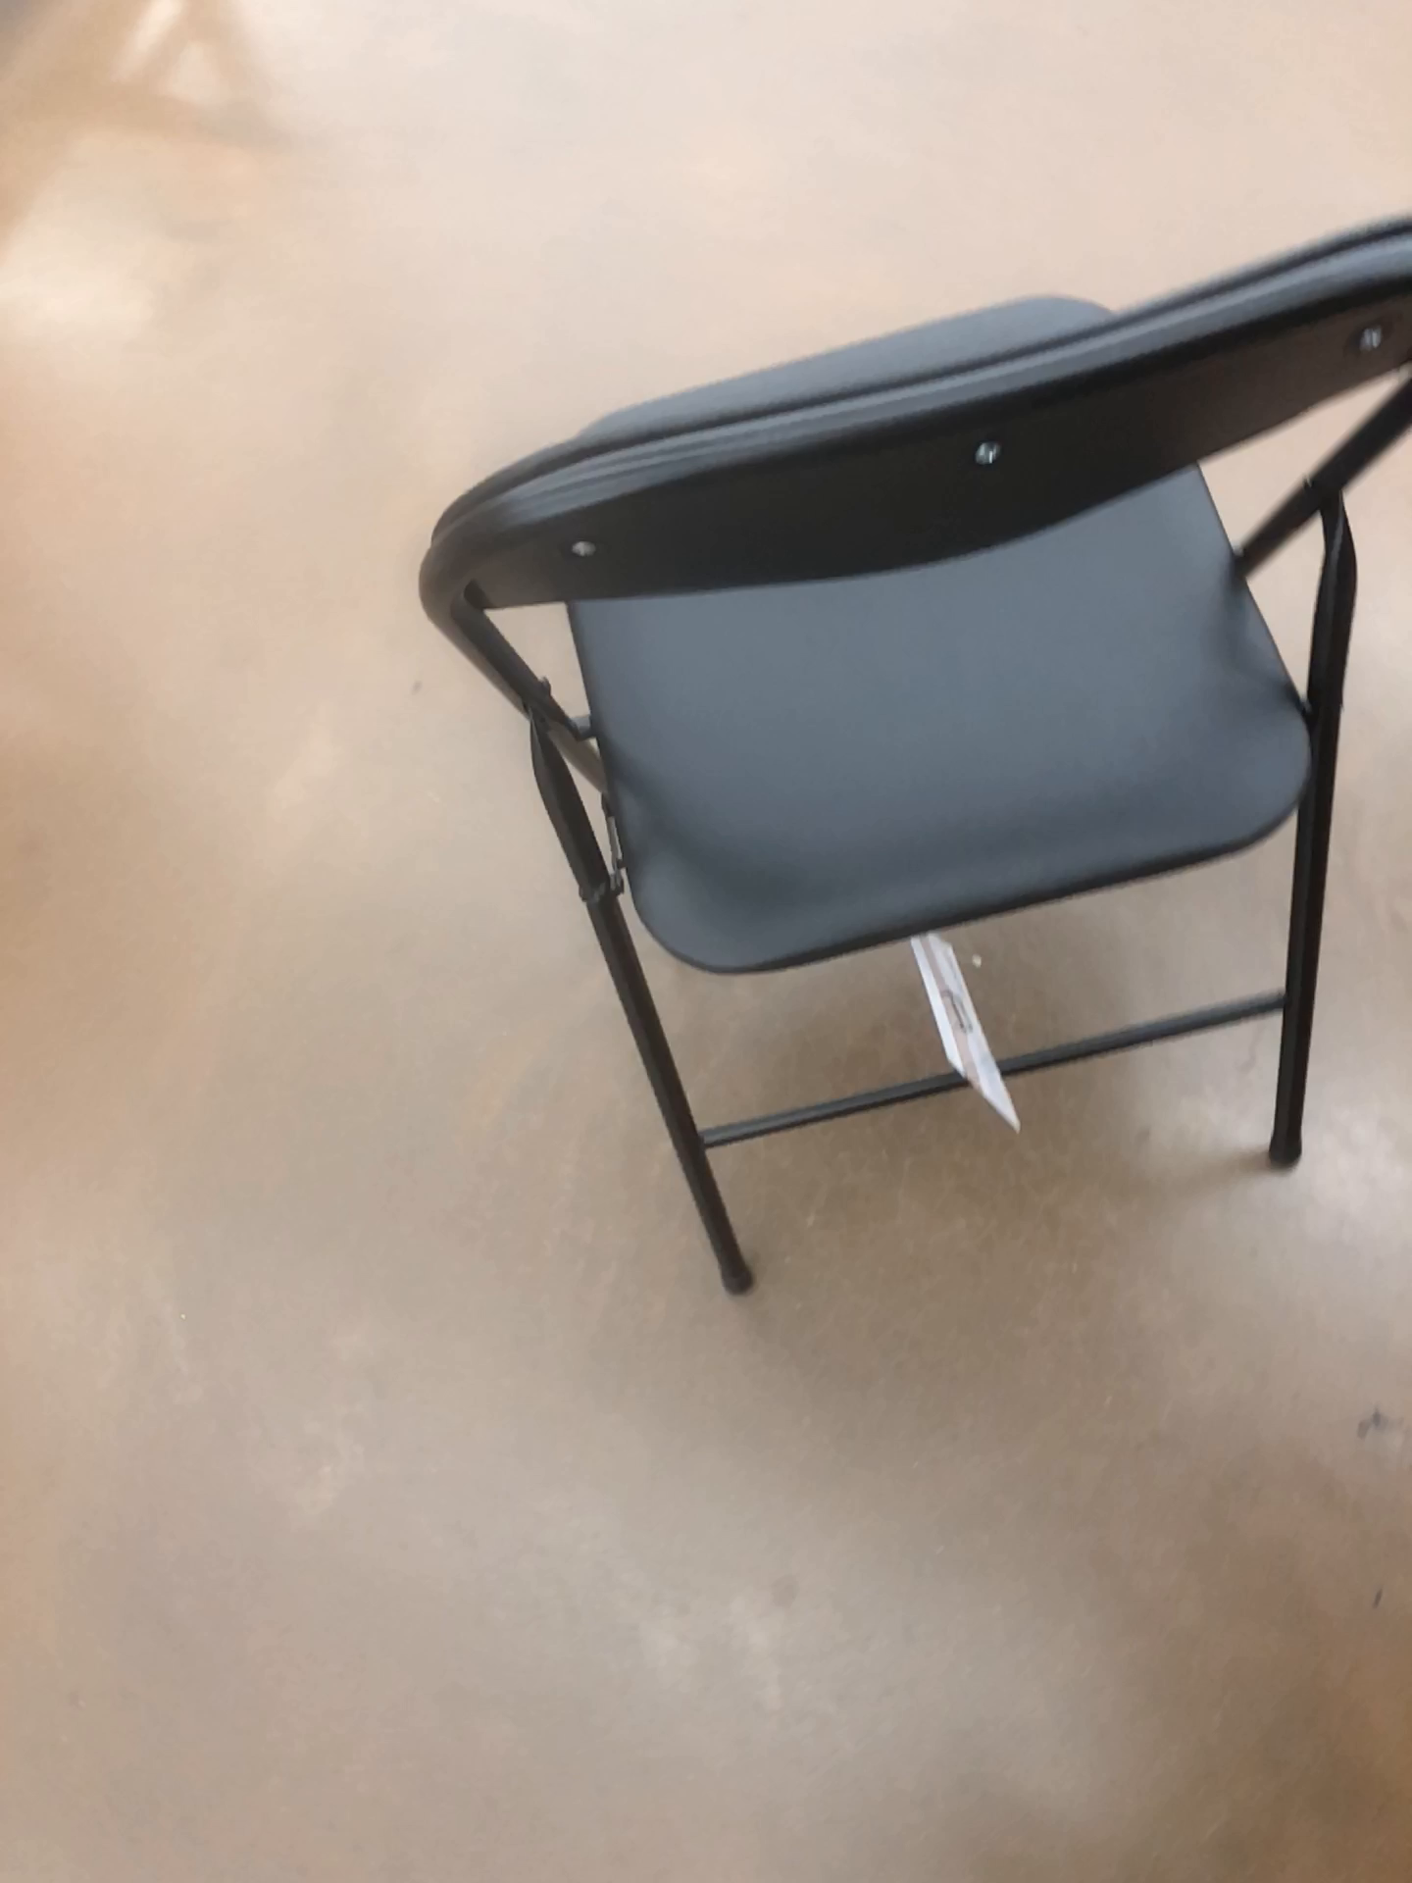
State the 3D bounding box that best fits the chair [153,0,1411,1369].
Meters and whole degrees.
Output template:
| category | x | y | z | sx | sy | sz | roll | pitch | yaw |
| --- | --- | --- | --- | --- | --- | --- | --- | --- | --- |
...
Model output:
| category | x | y | z | sx | sy | sz | roll | pitch | yaw |
| --- | --- | --- | --- | --- | --- | --- | --- | --- | --- |
| chair | 0.128 | -0.148 | 0.867 | 0.520 | 0.759 | 0.491 | -15 | 61 | 3 |
